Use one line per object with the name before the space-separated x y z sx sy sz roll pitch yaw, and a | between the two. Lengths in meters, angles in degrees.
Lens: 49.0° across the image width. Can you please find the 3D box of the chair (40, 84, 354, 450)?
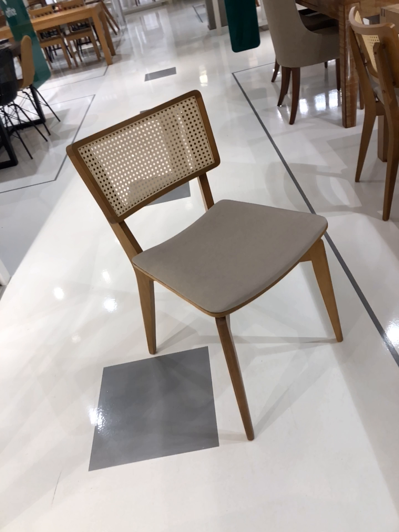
chair | 0.046 -0.040 1.328 0.542 0.794 0.603 -36 40 -28
